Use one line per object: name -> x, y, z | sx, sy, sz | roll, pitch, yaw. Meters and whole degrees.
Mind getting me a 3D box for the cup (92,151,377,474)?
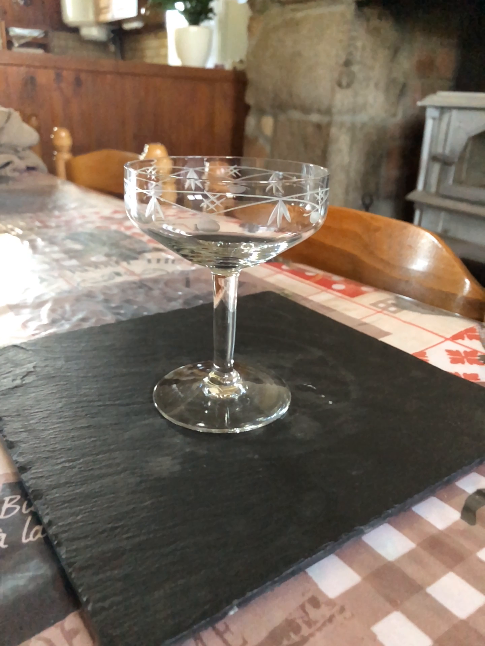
cup -> -0.006, -0.017, 0.262 | 0.090, 0.119, 0.090 | 2, 21, -1
